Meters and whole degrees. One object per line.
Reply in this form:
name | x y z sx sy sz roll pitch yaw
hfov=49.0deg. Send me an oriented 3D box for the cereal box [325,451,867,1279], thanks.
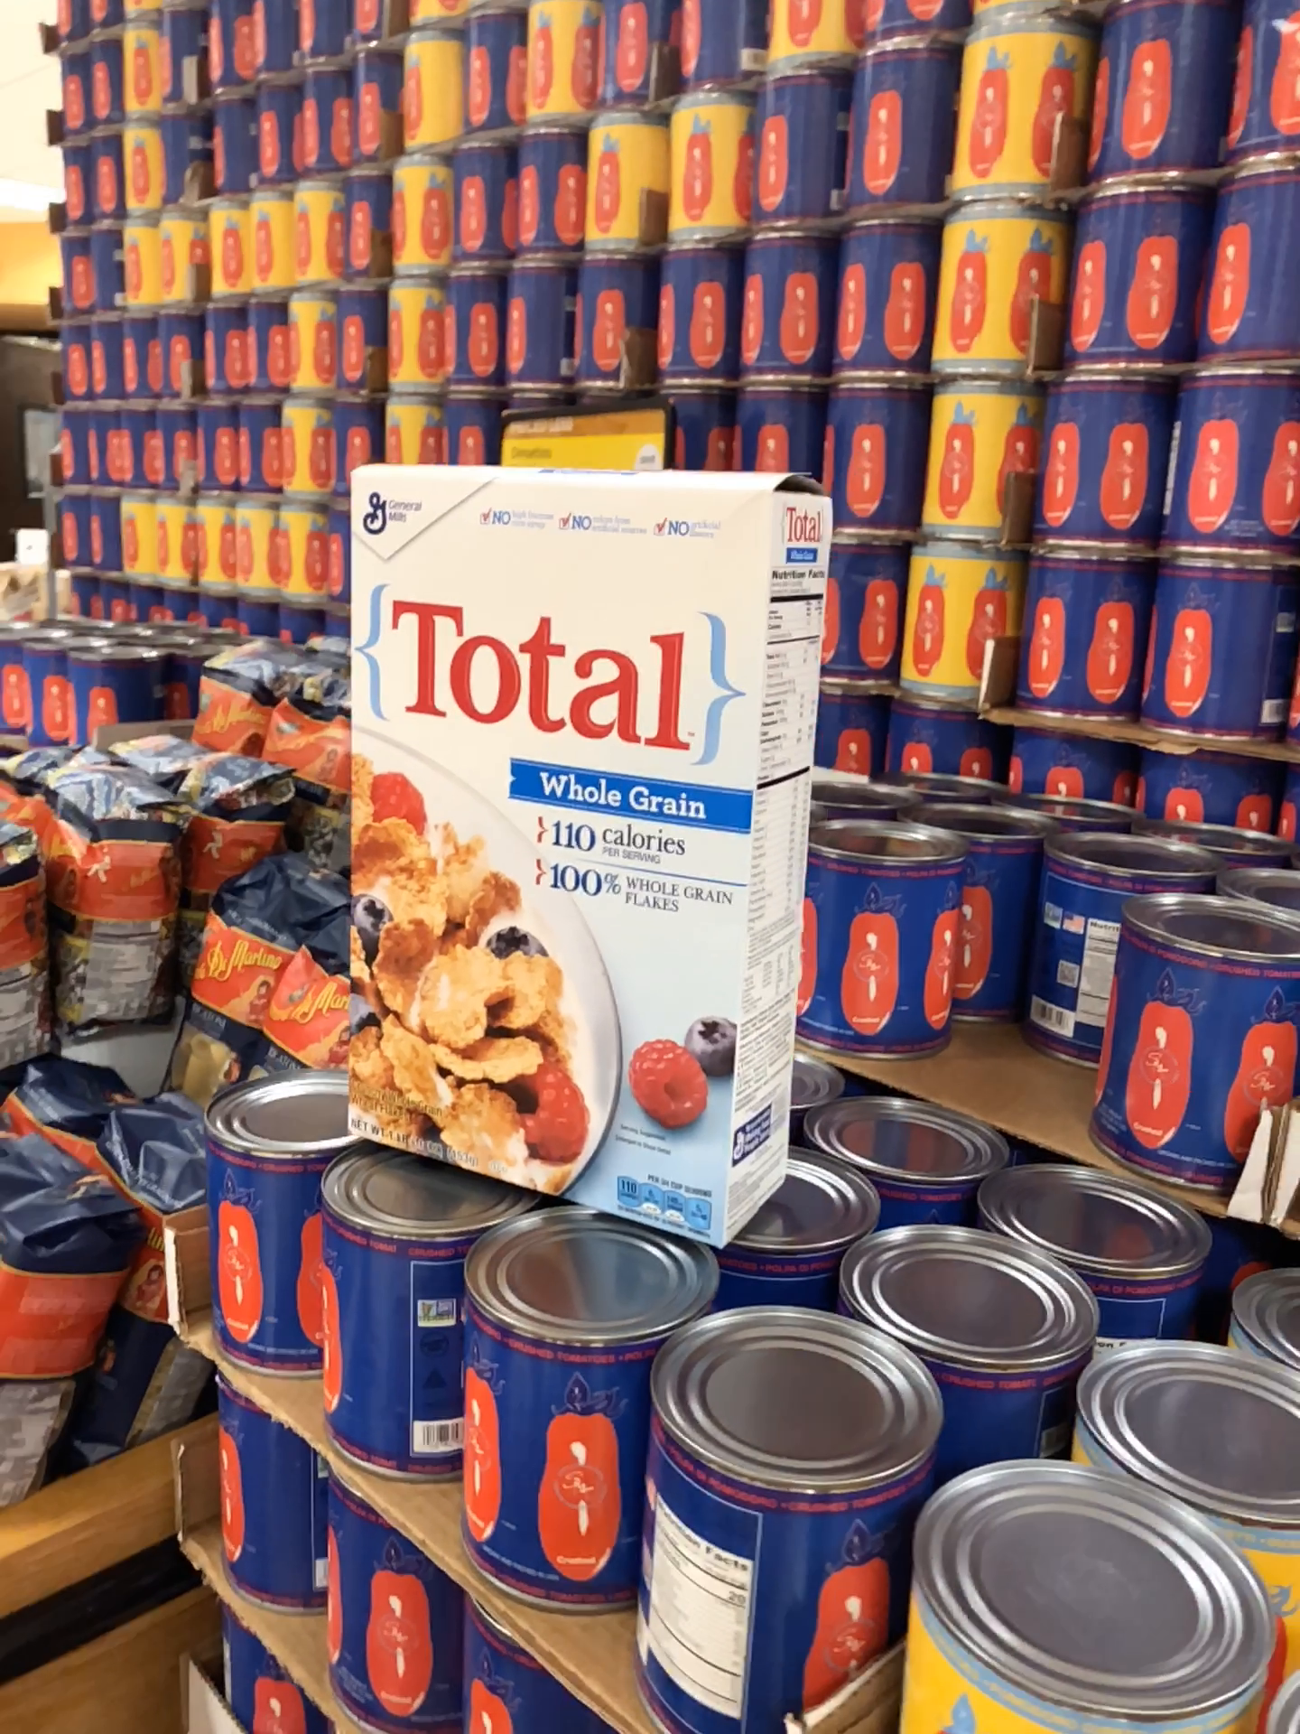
cereal box | -0.032 -0.012 0.607 0.210 0.309 0.070 10 13 28
